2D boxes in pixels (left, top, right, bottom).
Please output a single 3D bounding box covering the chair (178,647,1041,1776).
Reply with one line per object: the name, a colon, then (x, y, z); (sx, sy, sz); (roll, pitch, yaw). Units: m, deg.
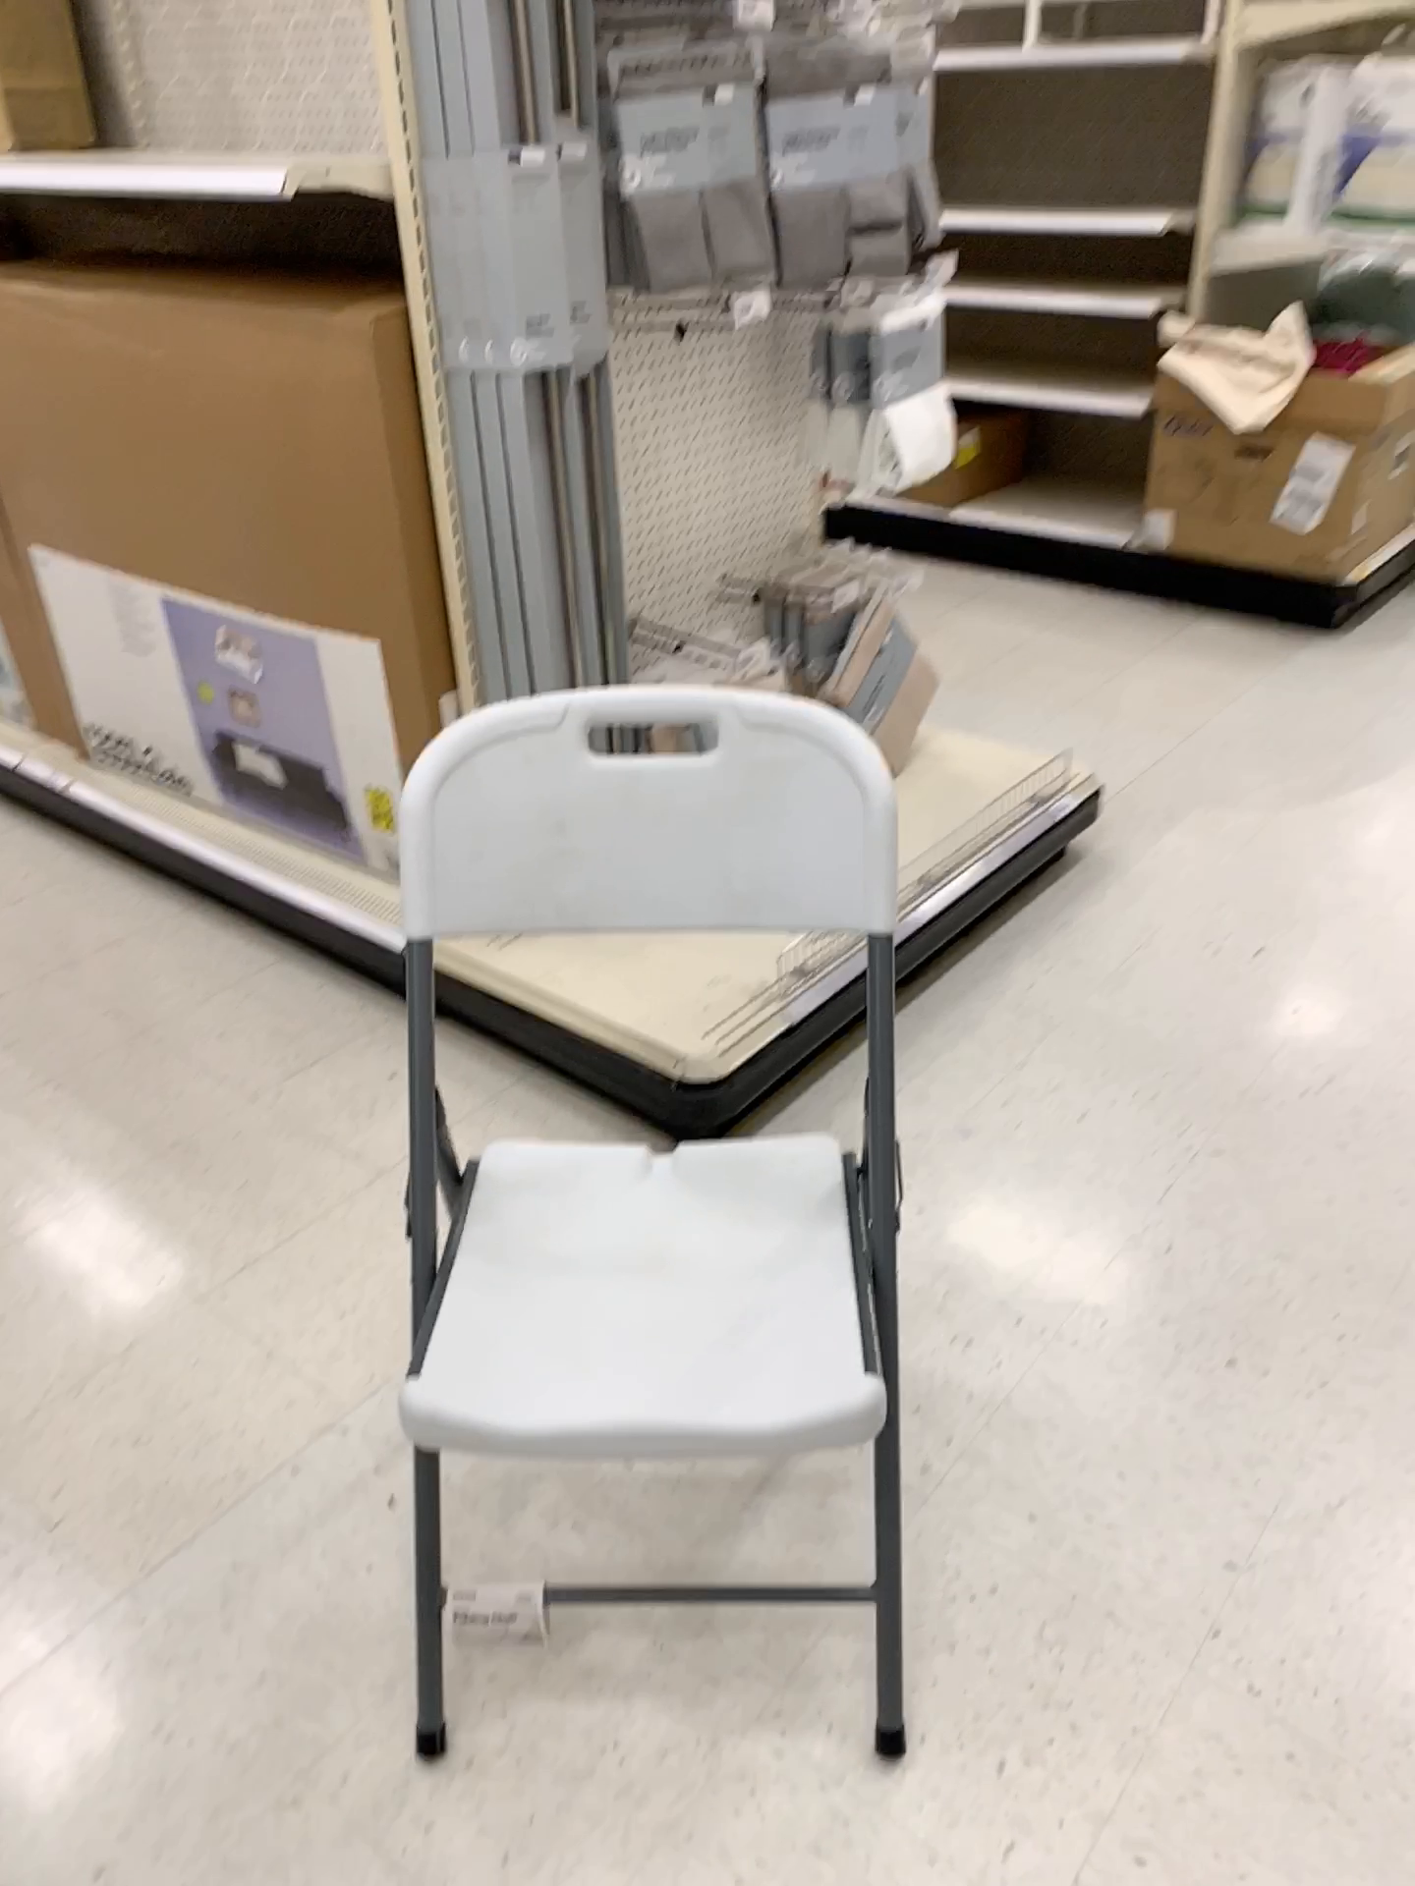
chair: (-0.046, 0.240, 1.328); (0.520, 0.846, 0.573); (-1, 31, 1)
